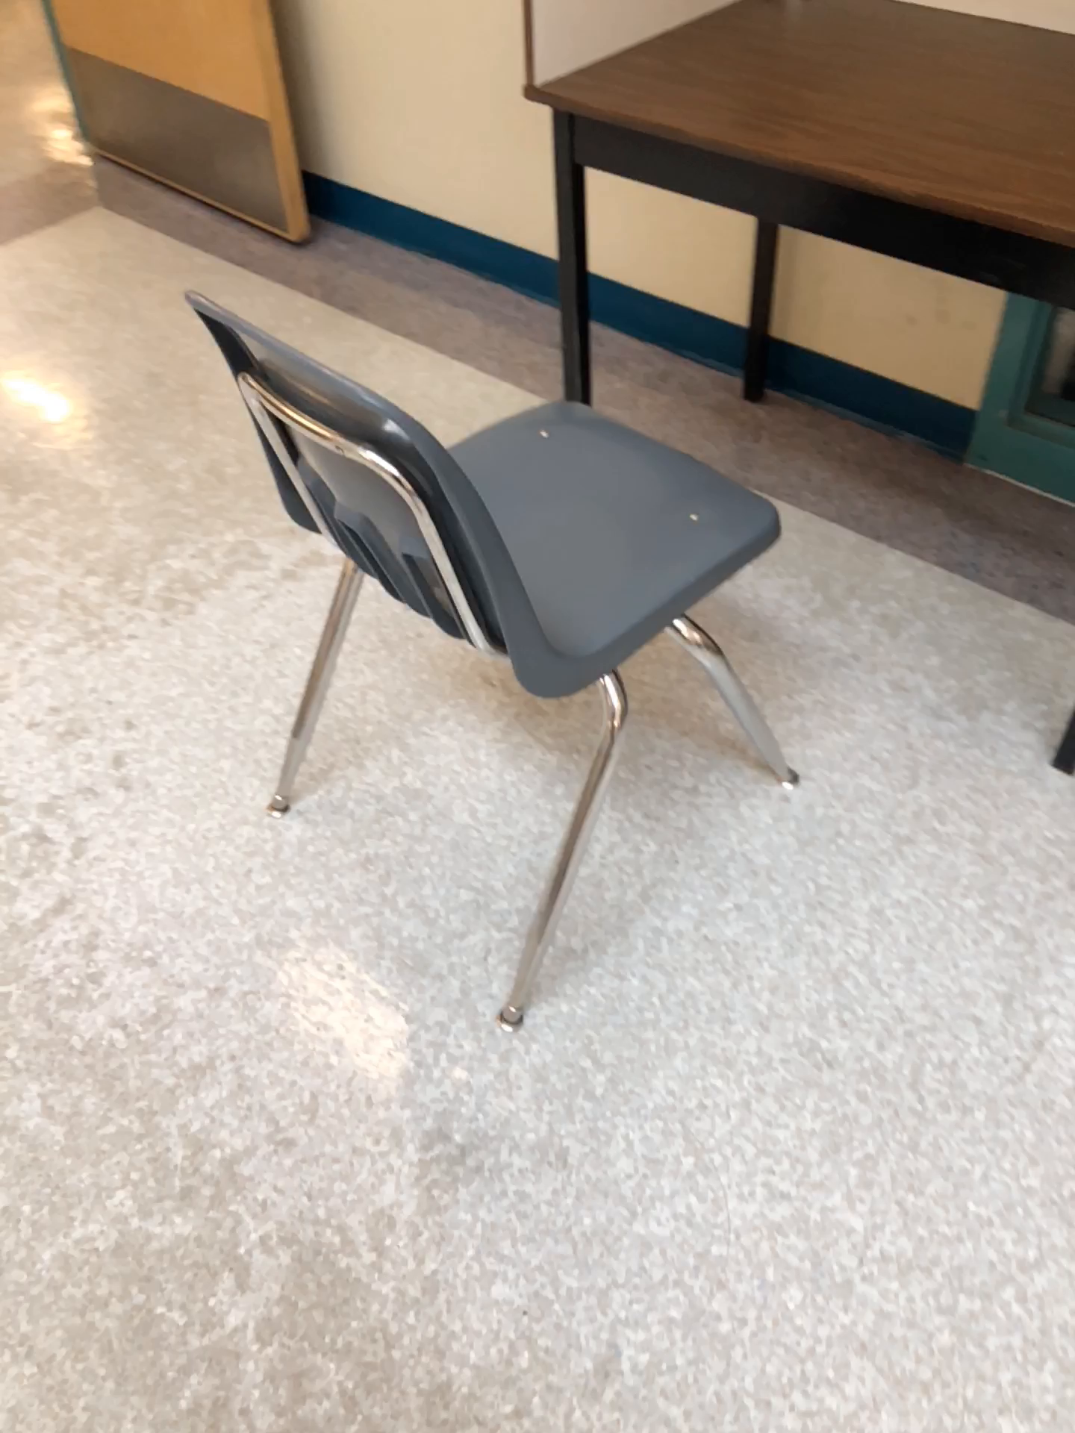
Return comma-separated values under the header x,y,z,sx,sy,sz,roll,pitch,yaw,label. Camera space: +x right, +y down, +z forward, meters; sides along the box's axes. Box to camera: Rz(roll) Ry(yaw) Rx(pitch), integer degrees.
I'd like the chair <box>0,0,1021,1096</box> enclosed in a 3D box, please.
x,y,z,sx,sy,sz,roll,pitch,yaw,label
-0.046,-0.192,1.154,0.612,0.695,0.593,-34,53,-27,chair
